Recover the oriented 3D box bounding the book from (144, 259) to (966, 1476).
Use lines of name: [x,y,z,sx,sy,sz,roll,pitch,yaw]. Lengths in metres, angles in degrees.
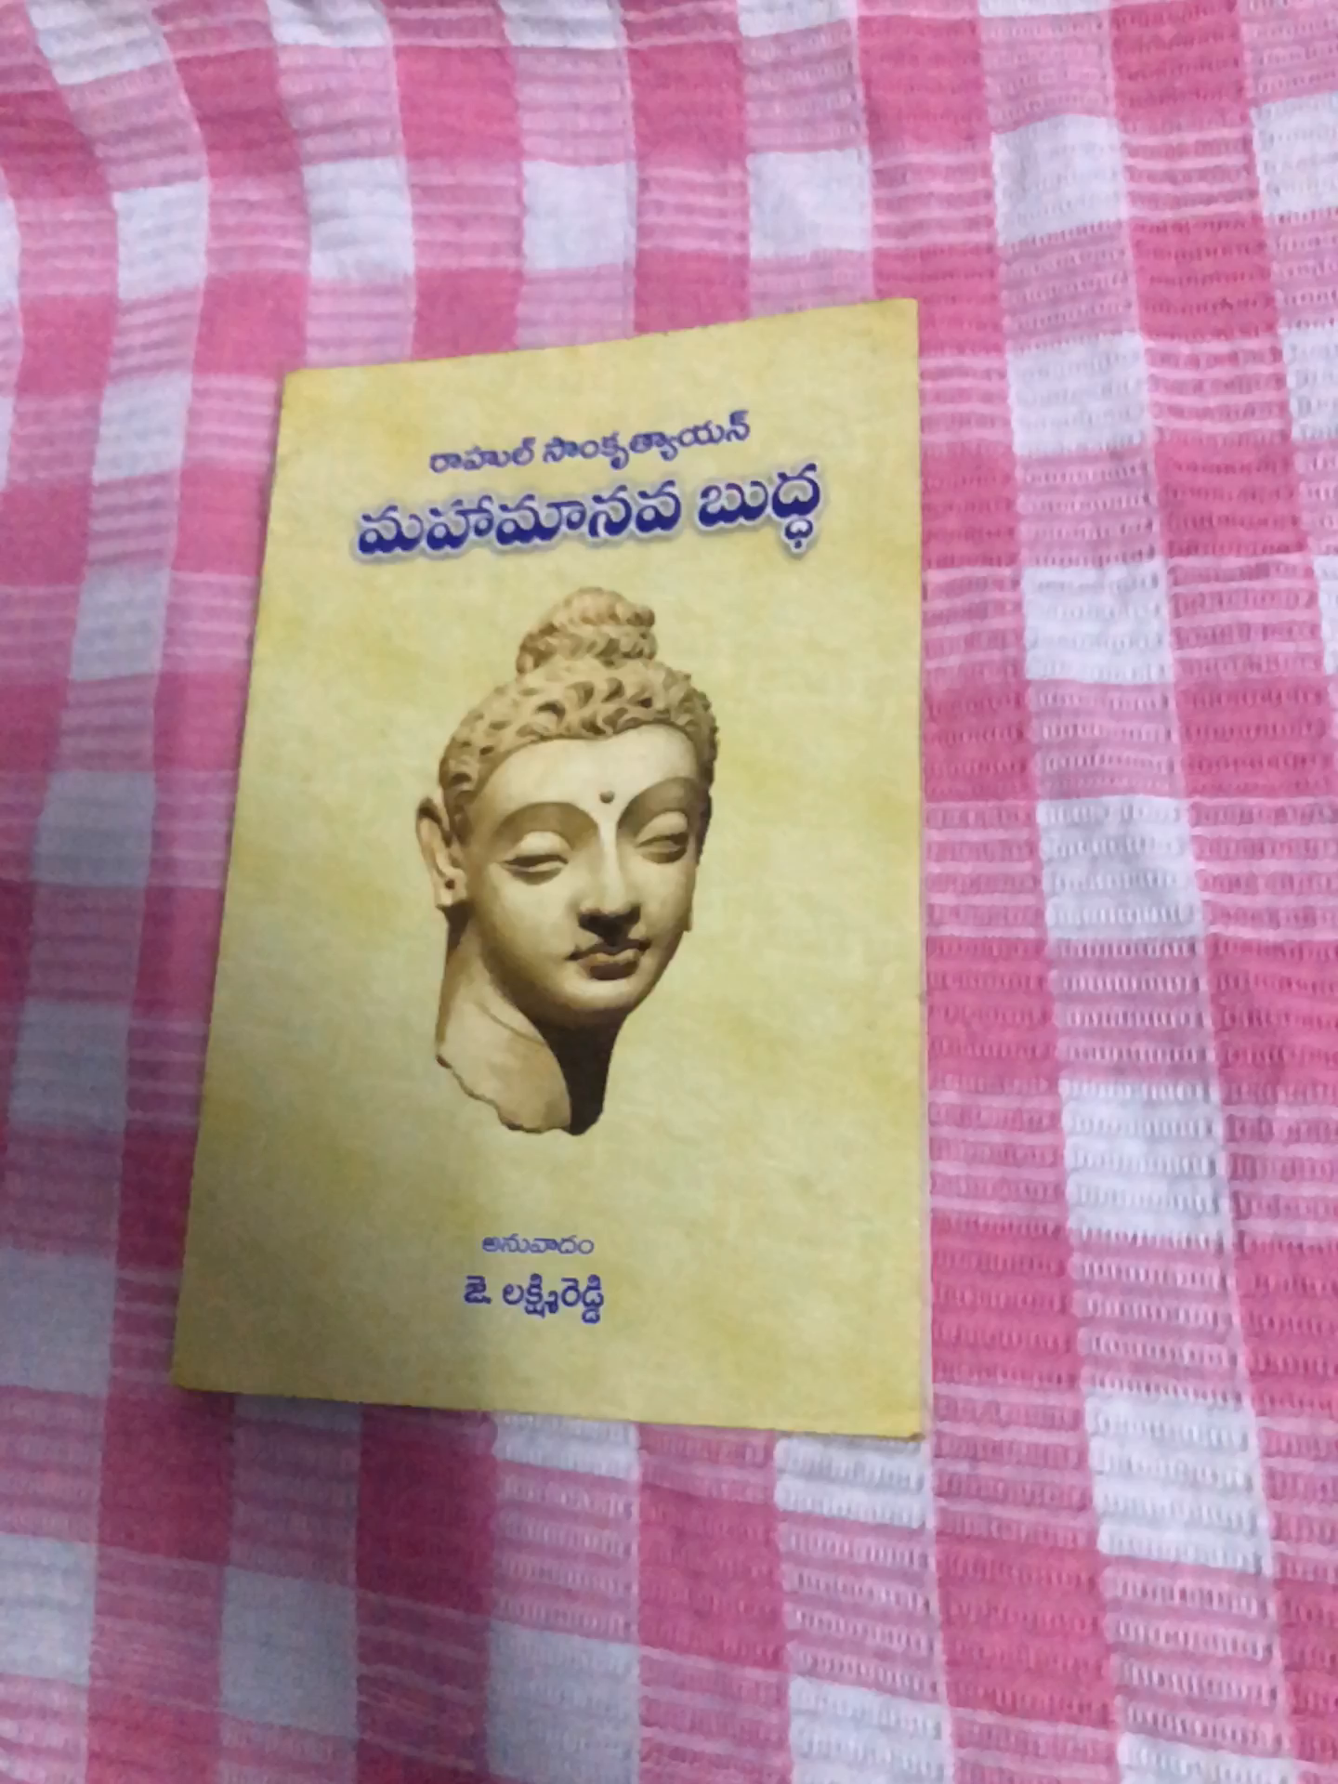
book: [-0.016,-0.013,0.283,0.140,0.020,0.220,-1,74,13]
